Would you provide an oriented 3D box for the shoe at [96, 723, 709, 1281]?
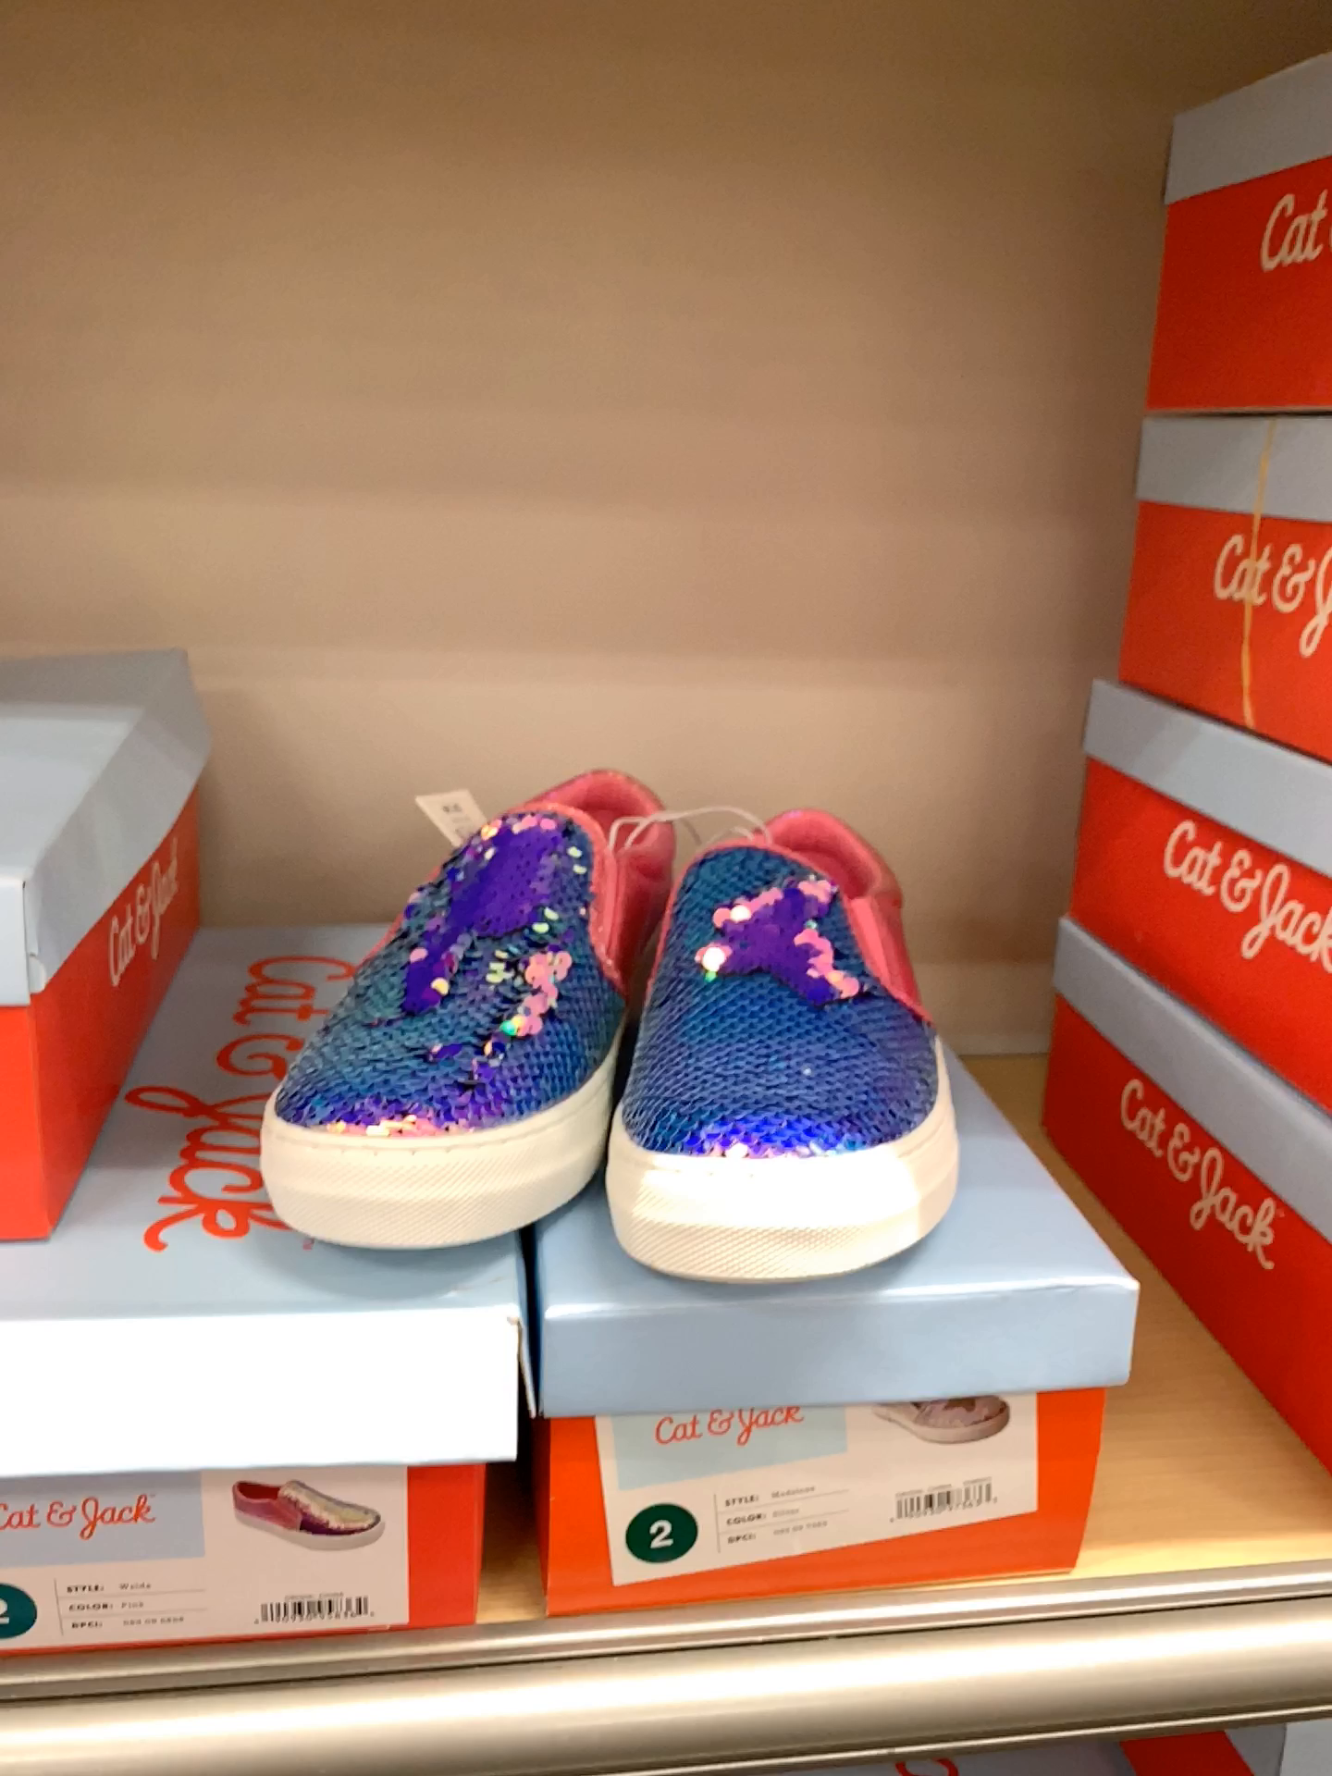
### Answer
[{"bbox_3d":[-0.054,0.014,0.398,0.100,0.074,0.211,5,19,10],"label":"shoe"}]

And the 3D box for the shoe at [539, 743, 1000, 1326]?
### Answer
[{"bbox_3d":[0.025,0.021,0.382,0.090,0.074,0.211,2,19,3],"label":"shoe"}]
